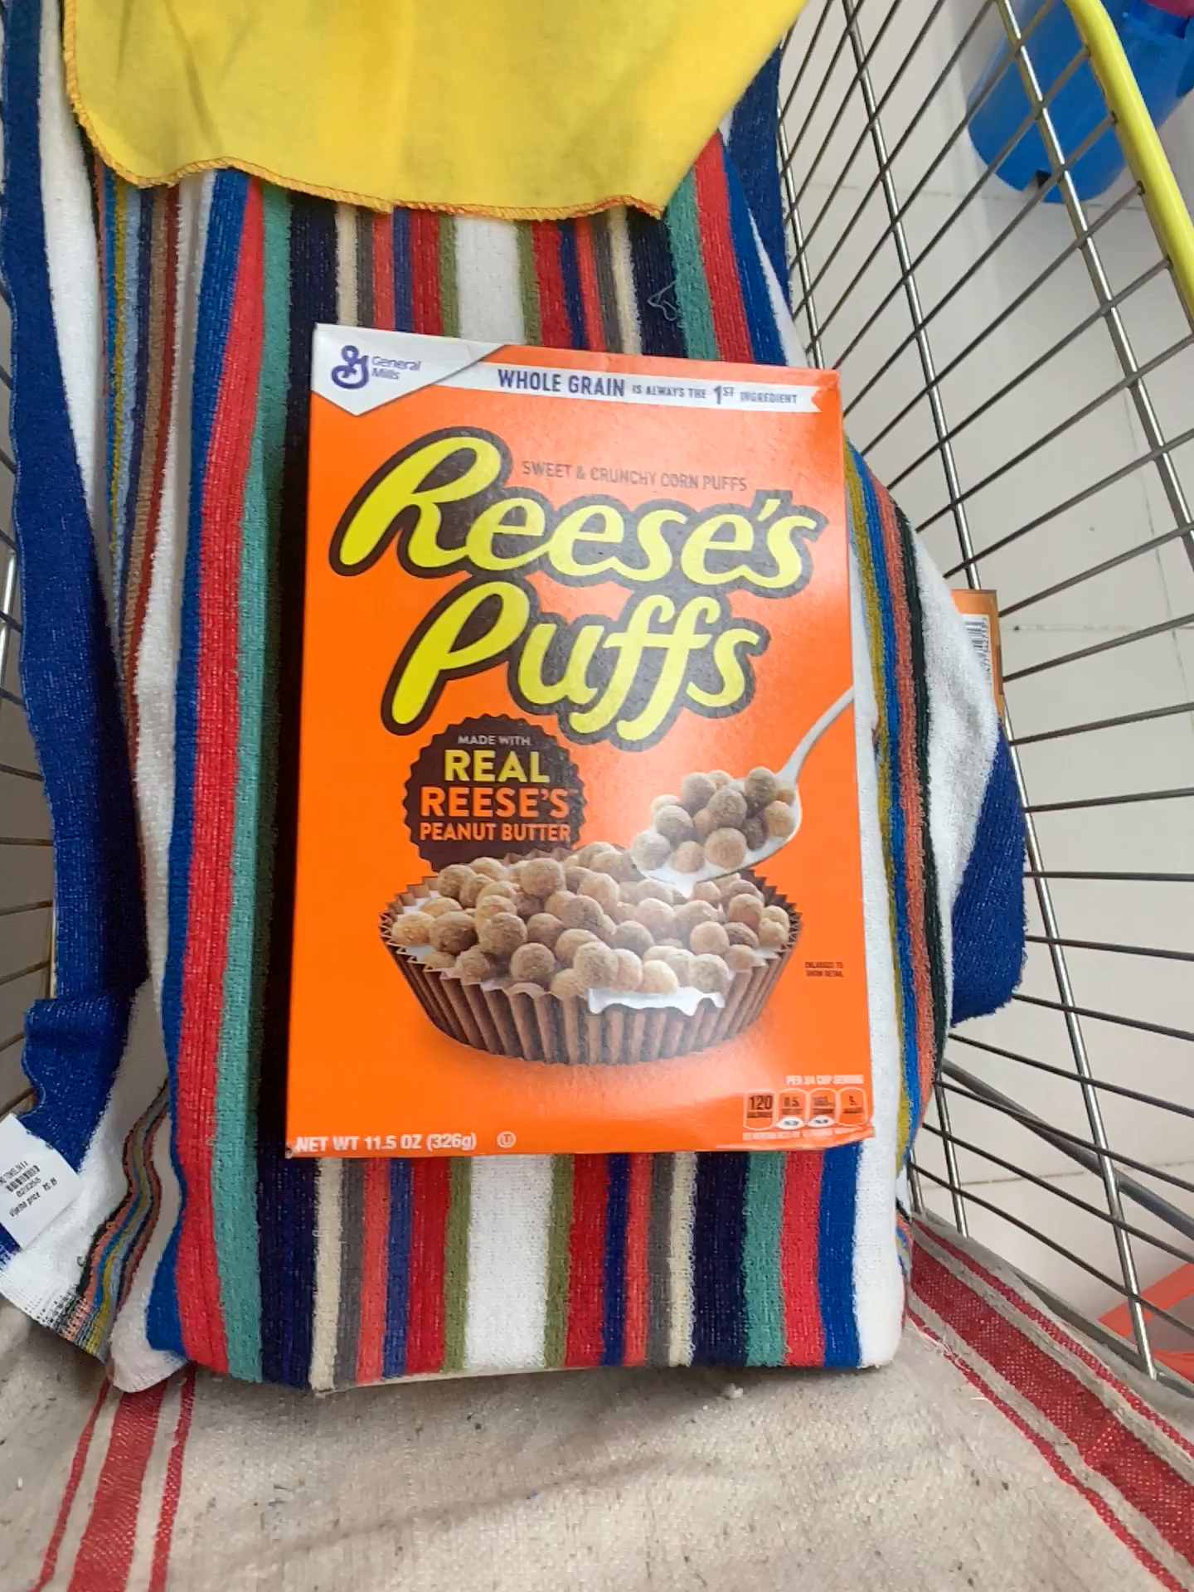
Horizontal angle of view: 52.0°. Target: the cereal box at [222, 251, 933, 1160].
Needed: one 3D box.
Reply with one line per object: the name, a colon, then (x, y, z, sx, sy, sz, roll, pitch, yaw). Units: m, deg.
cereal box: (-0.006, -0.024, 0.398, 0.200, 0.080, 0.260, 2, 82, -10)
